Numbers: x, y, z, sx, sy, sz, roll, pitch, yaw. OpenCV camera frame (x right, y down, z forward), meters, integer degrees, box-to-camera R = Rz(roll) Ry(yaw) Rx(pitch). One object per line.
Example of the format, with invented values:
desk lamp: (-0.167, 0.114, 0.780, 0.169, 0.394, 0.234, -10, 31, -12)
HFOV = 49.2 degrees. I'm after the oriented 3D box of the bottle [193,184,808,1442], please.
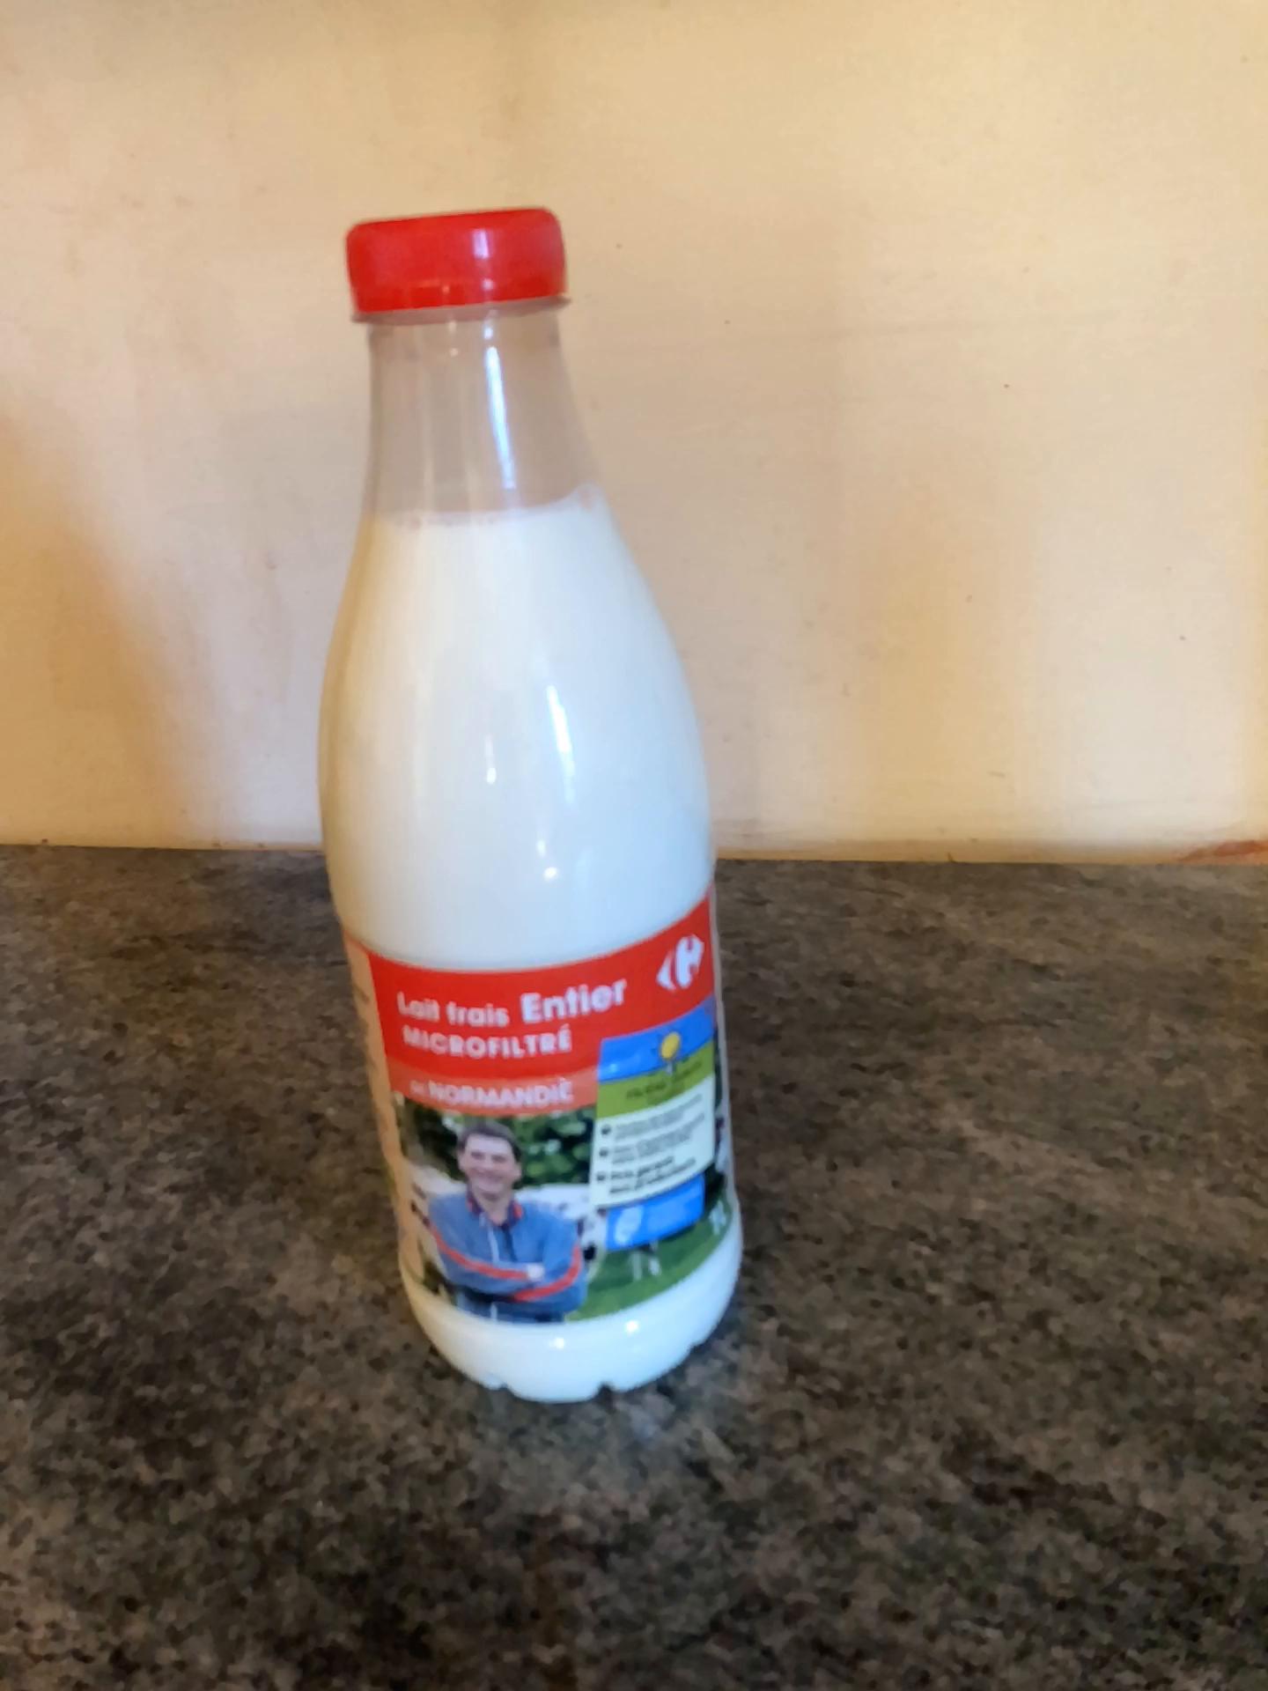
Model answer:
bottle: (-0.017, -0.001, 0.300, 0.090, 0.249, 0.080, -5, 23, -2)
